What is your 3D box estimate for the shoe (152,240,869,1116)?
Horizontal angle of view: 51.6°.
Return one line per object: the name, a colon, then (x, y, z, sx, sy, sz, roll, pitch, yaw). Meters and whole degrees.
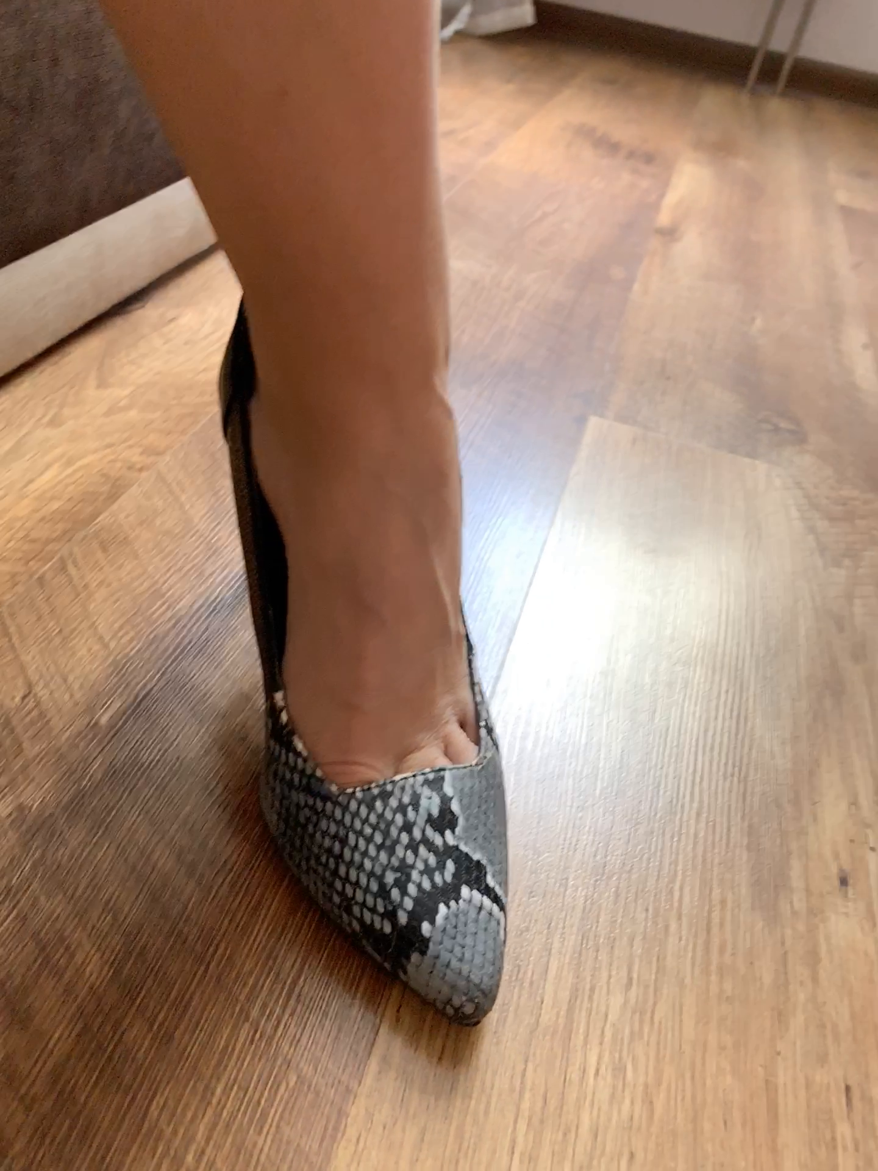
shoe: (-0.015, -0.004, 0.279, 0.090, 0.109, 0.251, -9, 43, -24)
